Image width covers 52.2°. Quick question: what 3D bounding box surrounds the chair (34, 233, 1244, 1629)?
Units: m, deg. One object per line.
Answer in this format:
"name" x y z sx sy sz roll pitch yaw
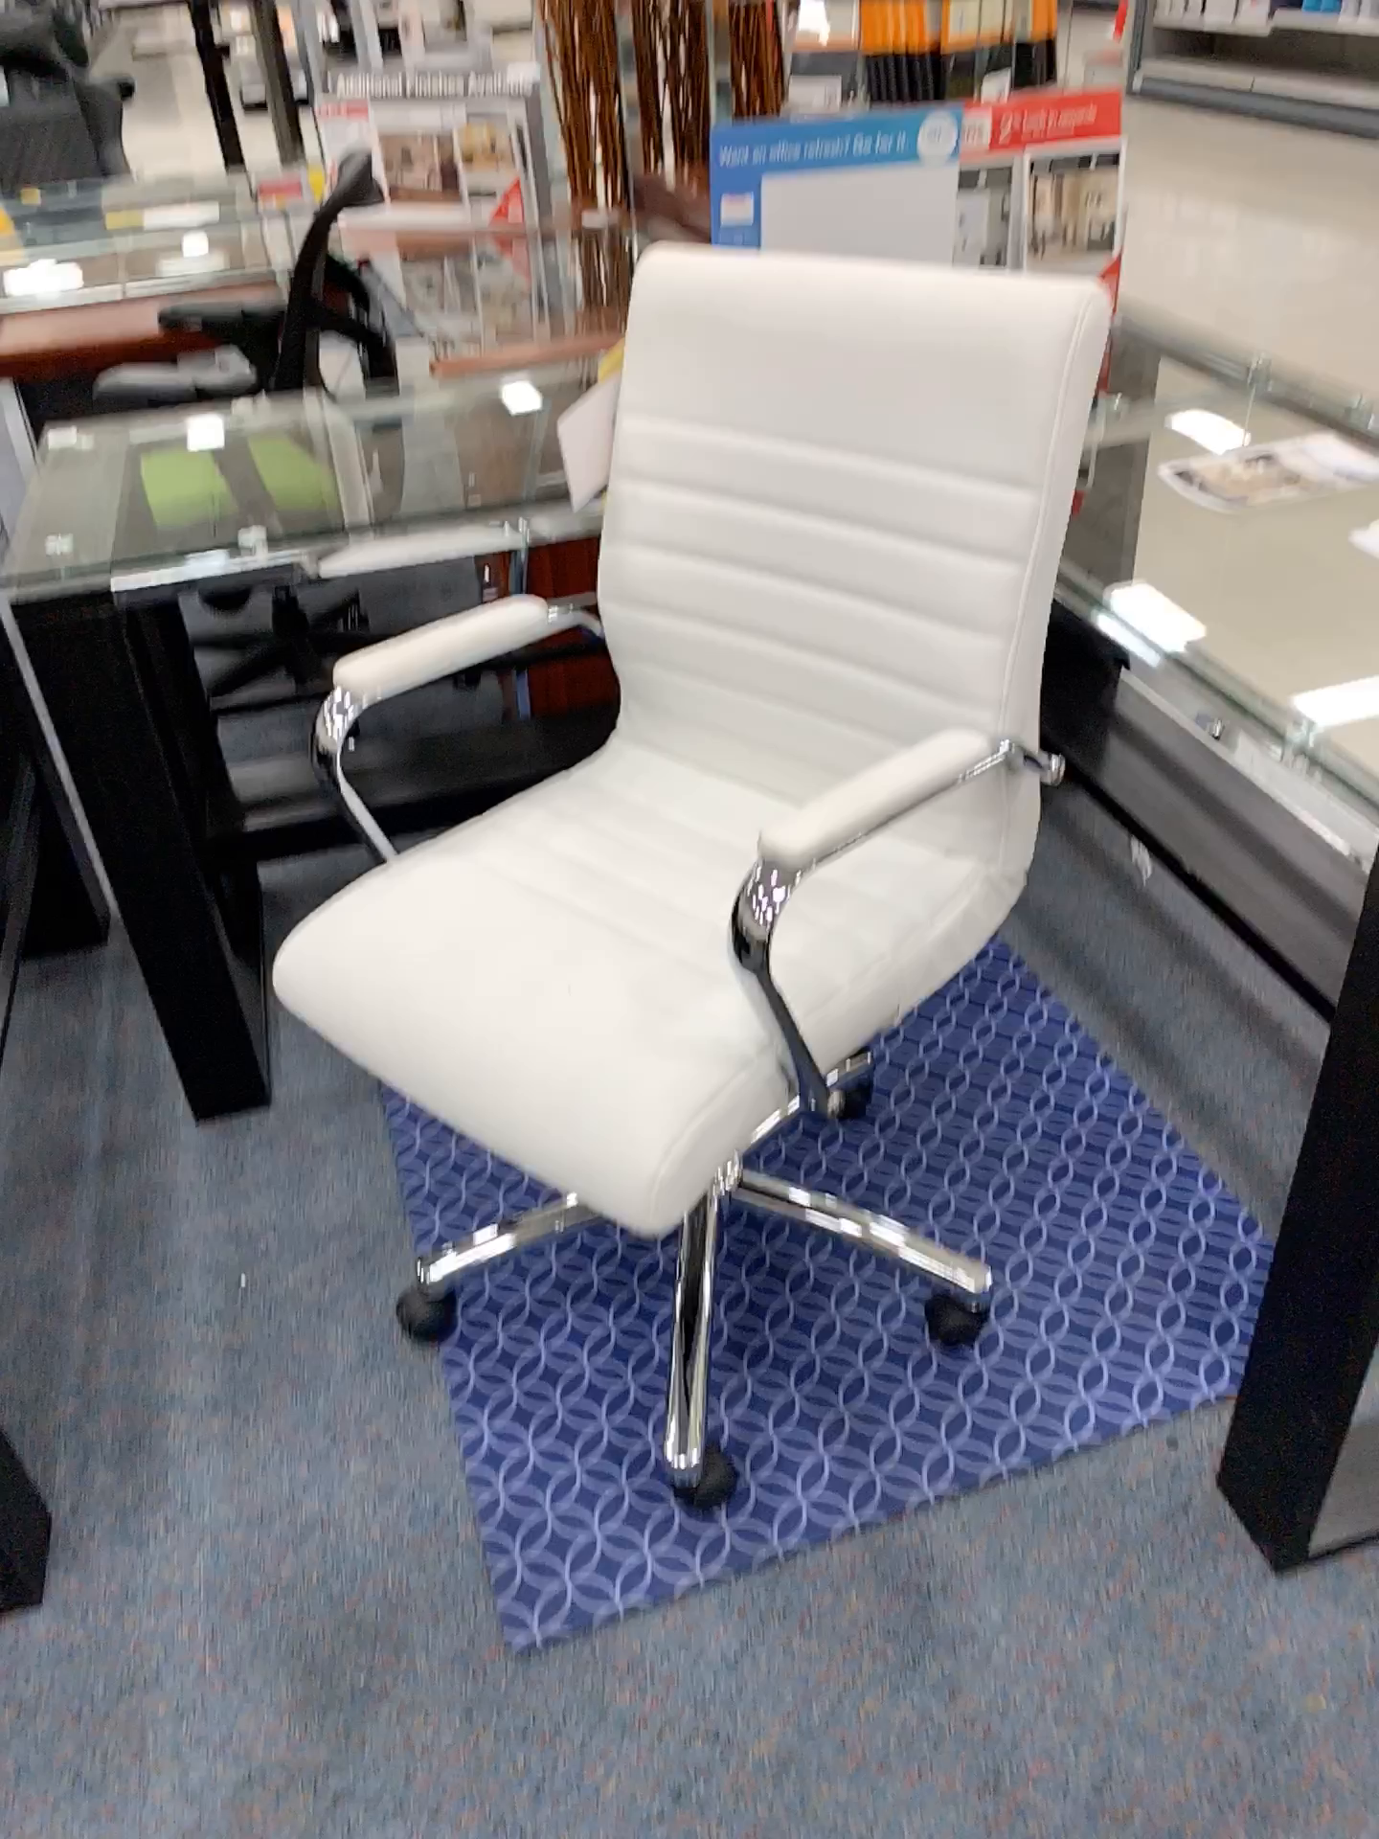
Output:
"chair" 0.009 -0.032 1.319 0.616 0.963 0.663 23 44 32
